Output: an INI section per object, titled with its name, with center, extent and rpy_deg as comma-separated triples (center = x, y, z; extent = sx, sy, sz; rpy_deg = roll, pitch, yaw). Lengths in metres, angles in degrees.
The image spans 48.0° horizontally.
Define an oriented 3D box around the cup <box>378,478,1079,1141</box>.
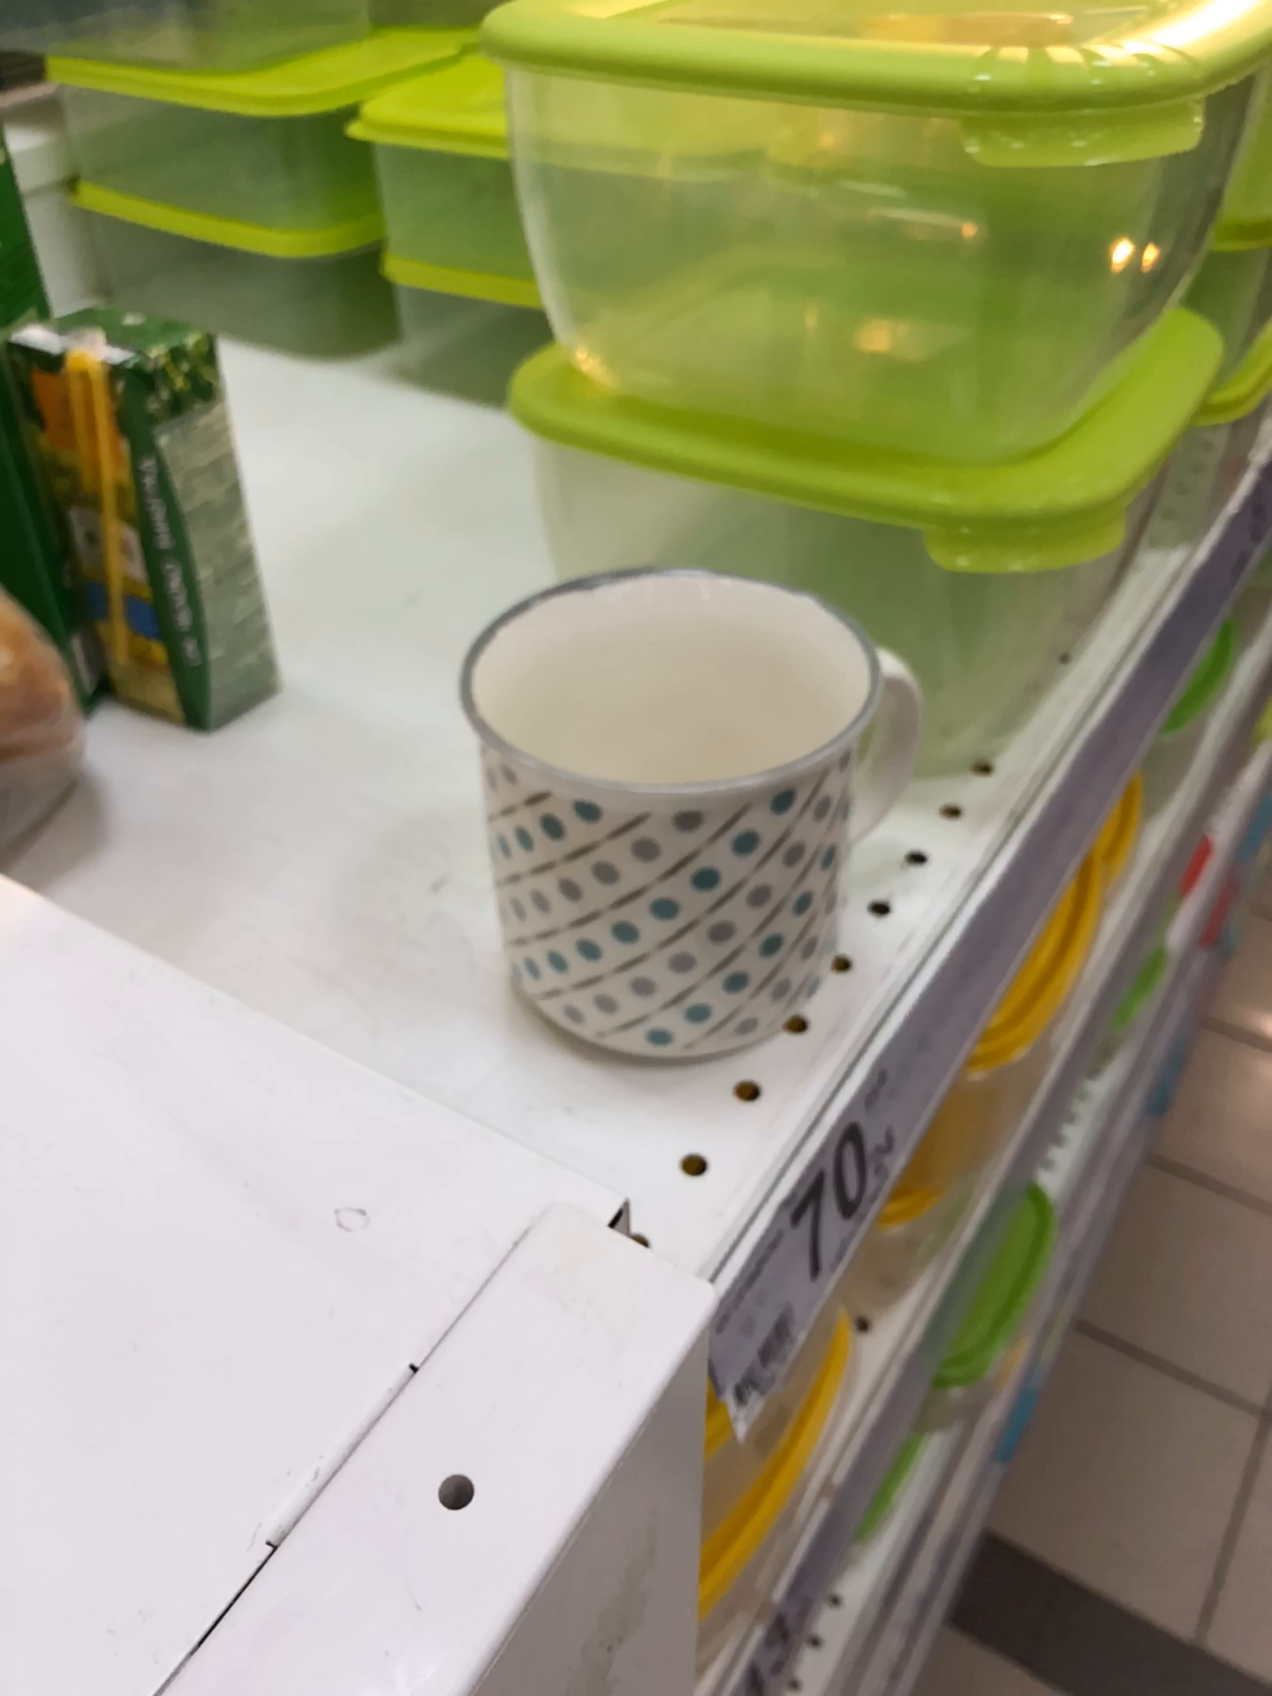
[cup]
center = 0.023, -0.018, 0.348
extent = 0.128, 0.082, 0.096
rpy_deg = -30, 47, -31
